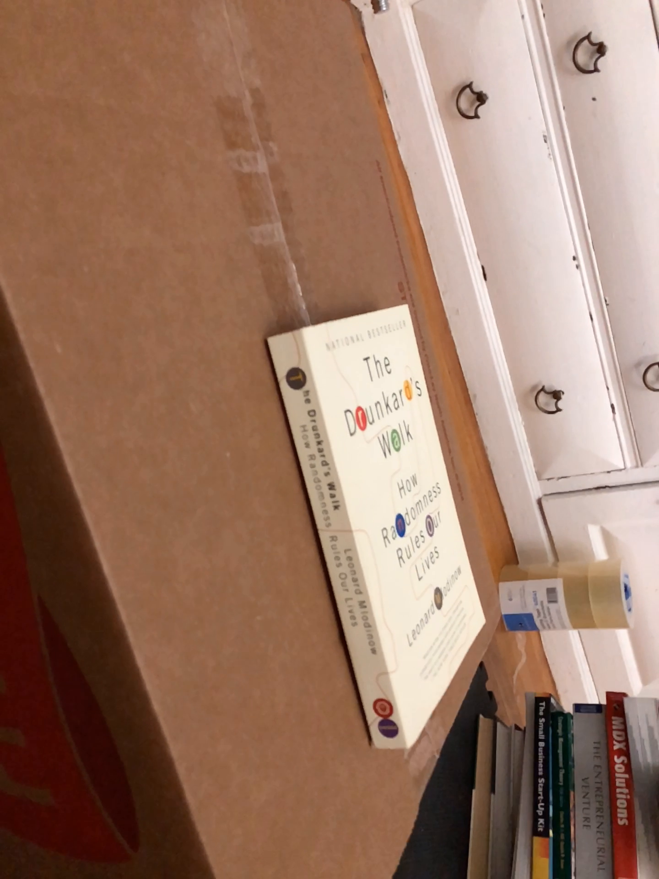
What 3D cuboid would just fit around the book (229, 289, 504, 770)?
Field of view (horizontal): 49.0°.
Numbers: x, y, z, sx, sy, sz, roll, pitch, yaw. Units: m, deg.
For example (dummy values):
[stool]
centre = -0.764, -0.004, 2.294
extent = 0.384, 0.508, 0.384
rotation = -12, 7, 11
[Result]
[book]
centre = 0.032, 0.034, 0.381
extent = 0.141, 0.040, 0.210
rotation = -29, 106, -59
